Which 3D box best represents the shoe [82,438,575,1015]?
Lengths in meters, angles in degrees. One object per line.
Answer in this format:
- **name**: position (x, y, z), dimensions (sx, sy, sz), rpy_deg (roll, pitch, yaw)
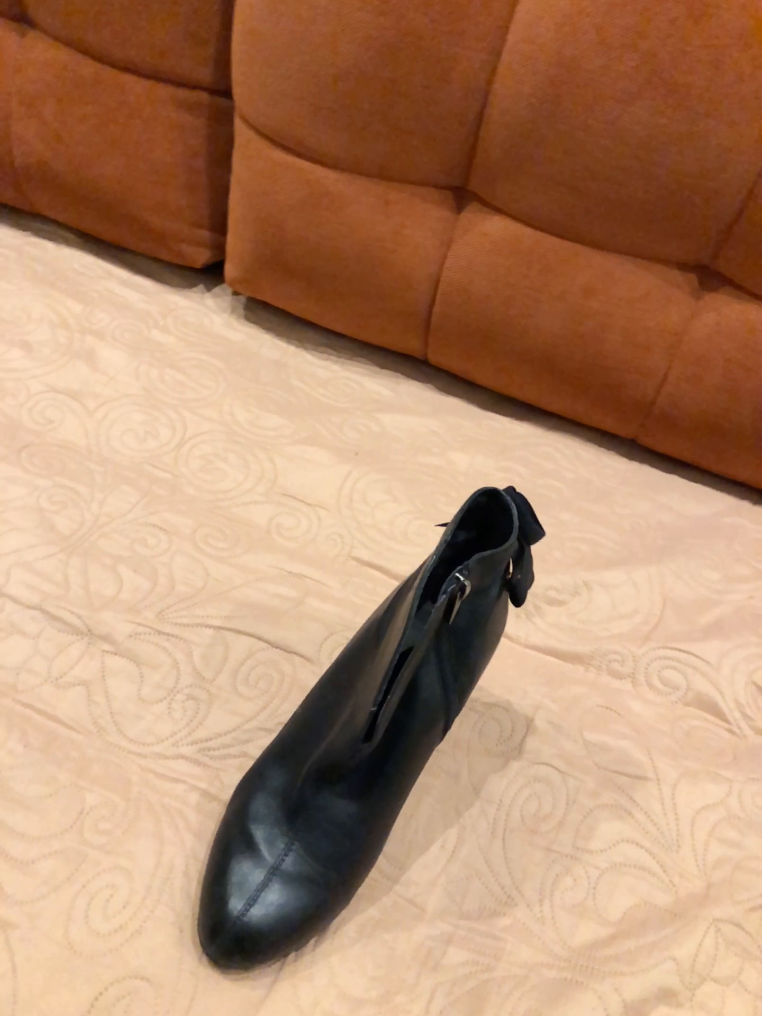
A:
- **shoe**: position (-0.018, 0.105, 0.411), dimensions (0.095, 0.169, 0.221), rpy_deg (31, 49, 17)
